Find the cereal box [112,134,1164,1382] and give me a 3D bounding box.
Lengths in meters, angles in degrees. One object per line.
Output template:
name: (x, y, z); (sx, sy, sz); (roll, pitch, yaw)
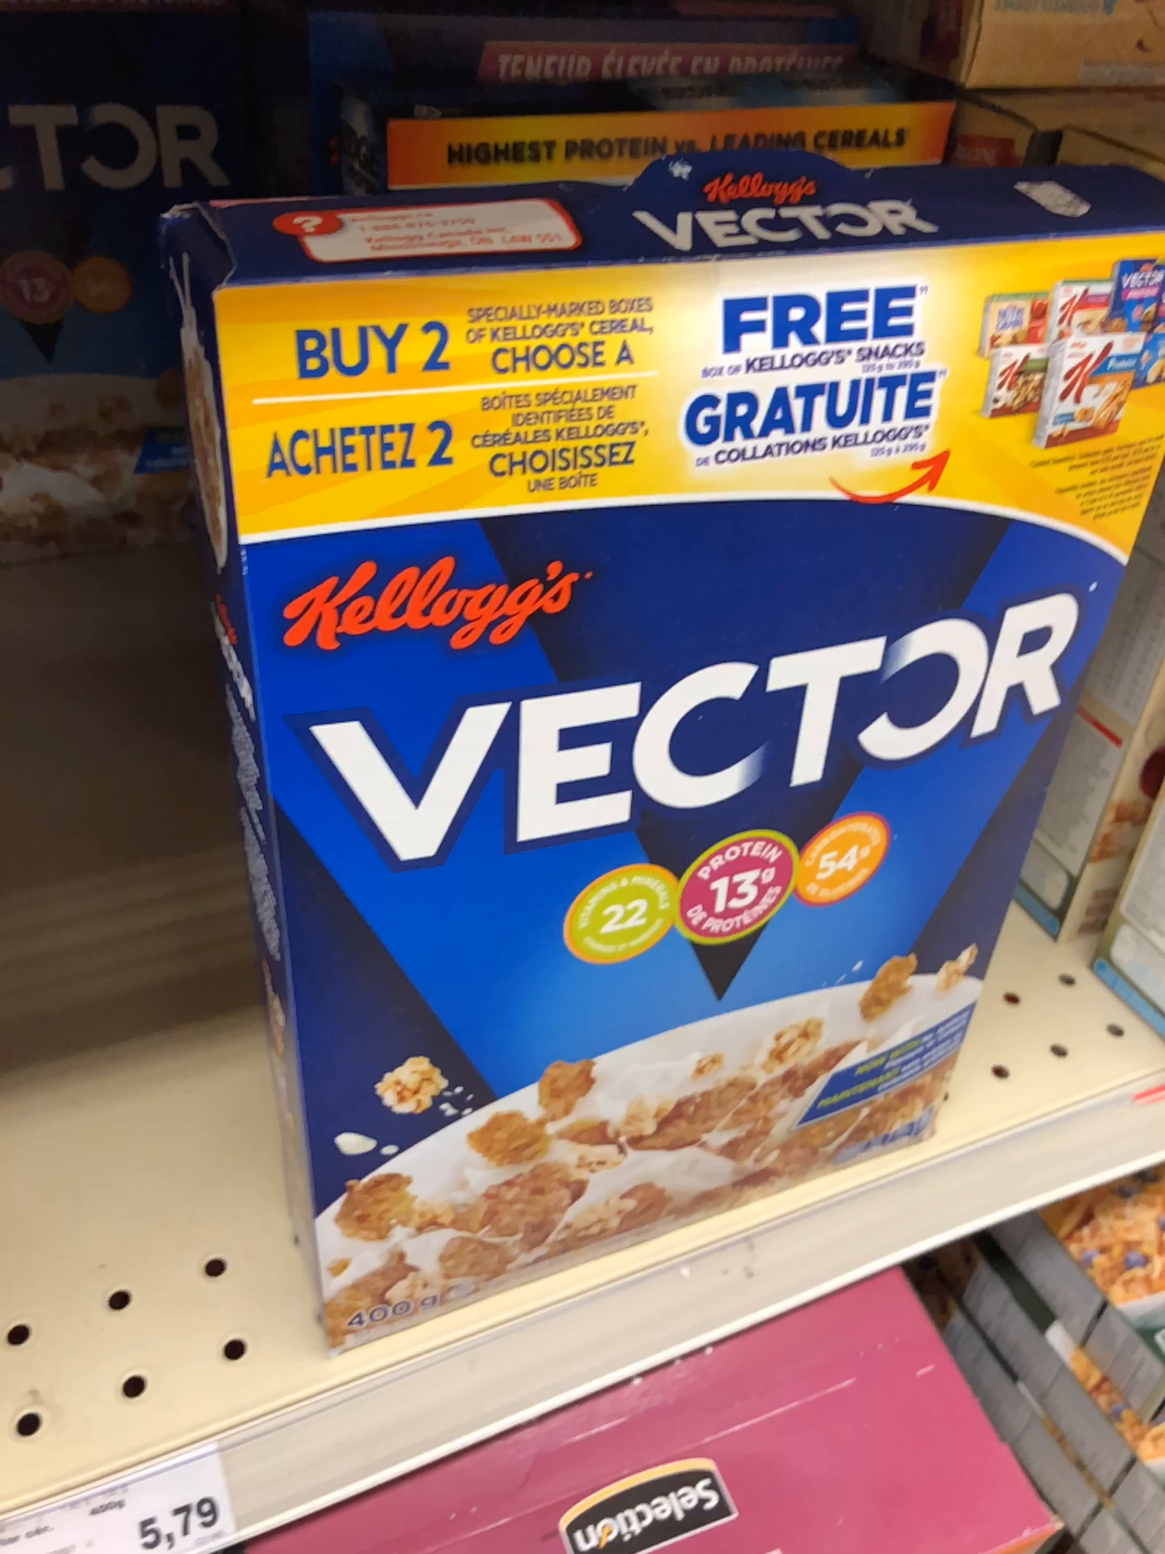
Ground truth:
cereal box: (0.020, 0.007, 0.300); (0.200, 0.268, 0.060); (-12, 41, -21)
